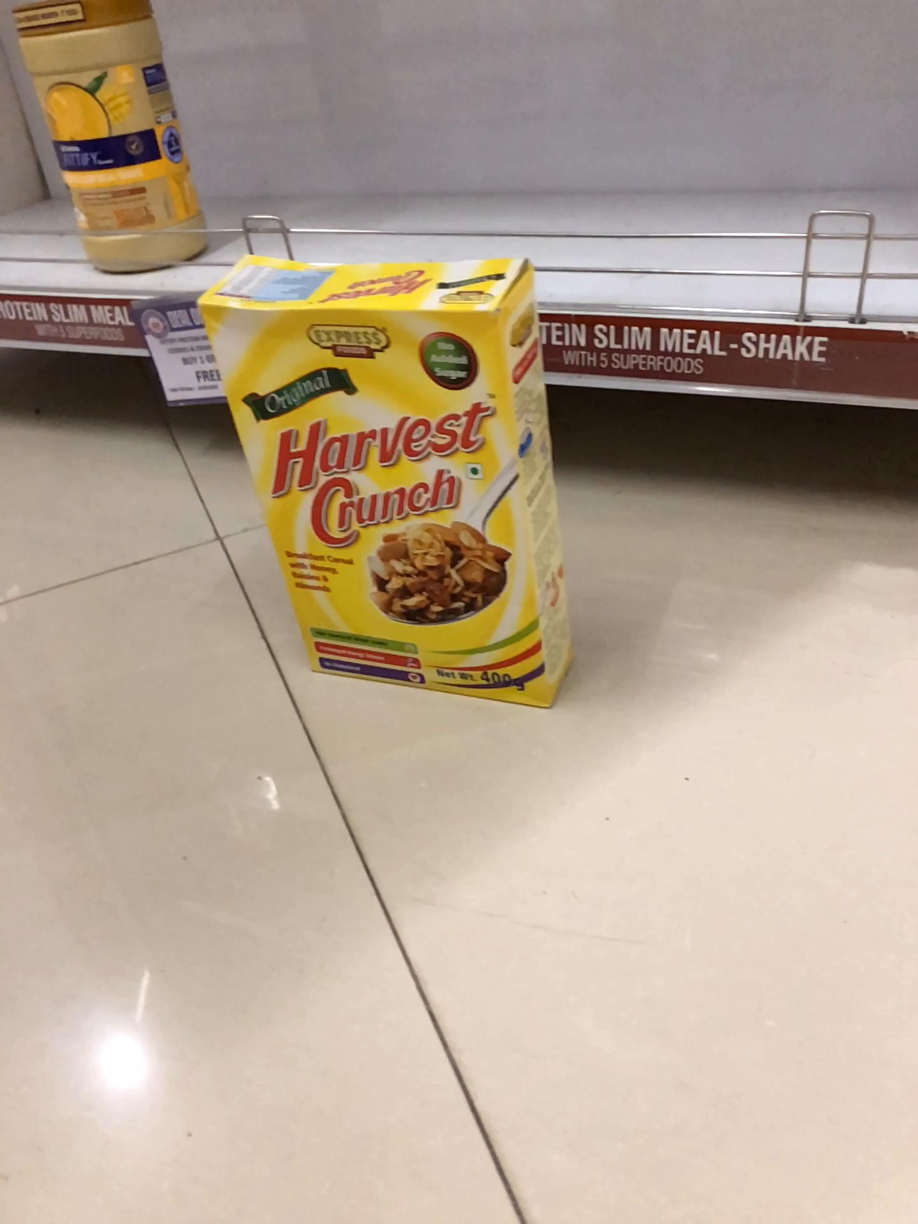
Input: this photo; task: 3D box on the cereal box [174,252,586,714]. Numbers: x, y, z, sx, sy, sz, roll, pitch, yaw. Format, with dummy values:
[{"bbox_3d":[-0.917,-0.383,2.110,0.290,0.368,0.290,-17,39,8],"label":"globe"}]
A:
[{"bbox_3d":[-0.028,-0.059,0.486,0.160,0.209,0.050,7,37,20],"label":"cereal box"}]
